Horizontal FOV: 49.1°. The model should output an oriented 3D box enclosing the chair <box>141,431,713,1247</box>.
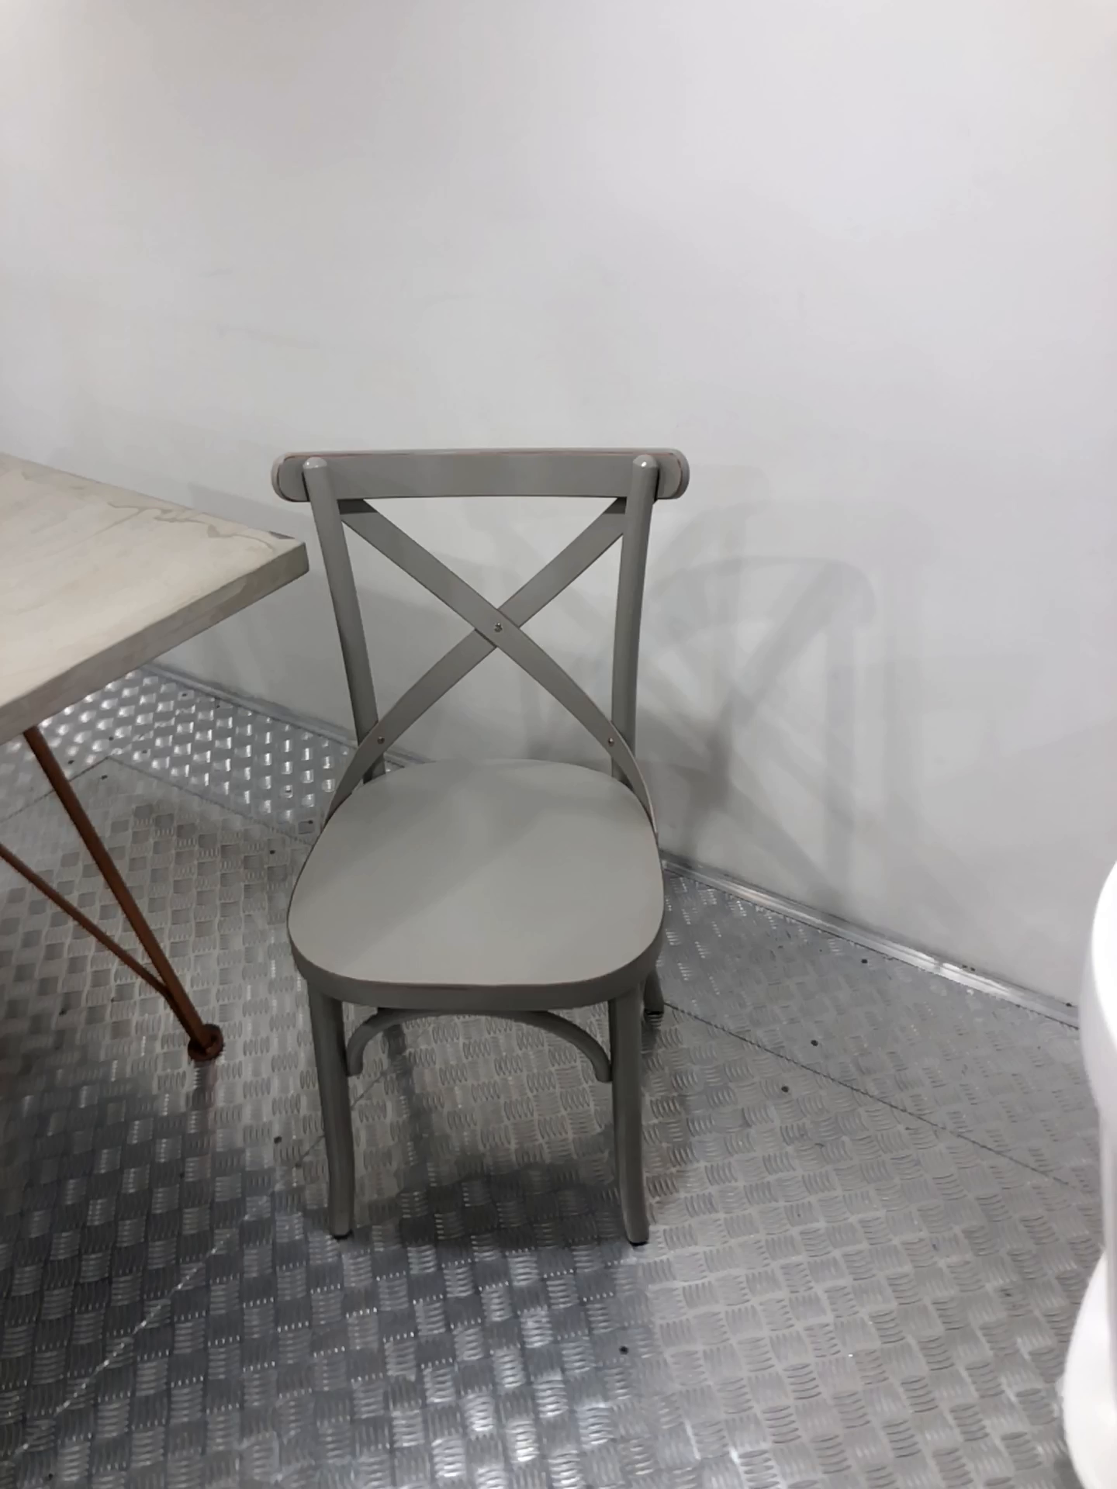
[{"bbox_3d":[-0.099,0.131,1.538,0.510,0.893,0.504,0,33,2],"label":"chair"}]
